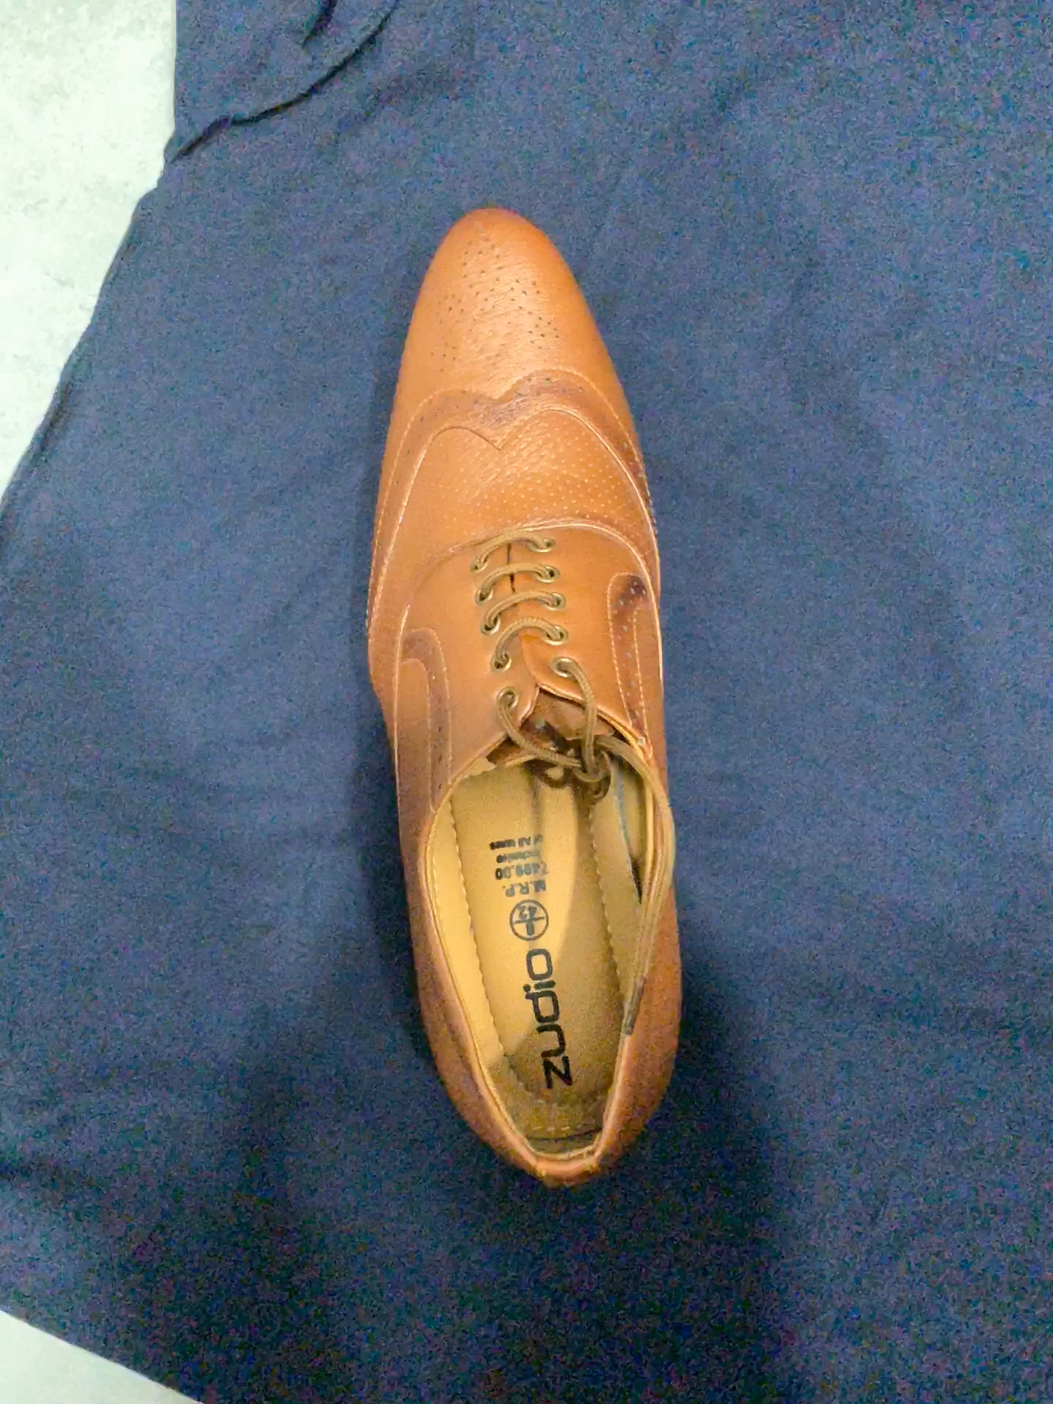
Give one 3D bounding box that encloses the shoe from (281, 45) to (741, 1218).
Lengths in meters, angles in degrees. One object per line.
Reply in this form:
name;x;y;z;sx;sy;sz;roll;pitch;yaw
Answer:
shoe;-0.005;-0.023;0.343;0.100;0.090;0.320;-6;82;5
